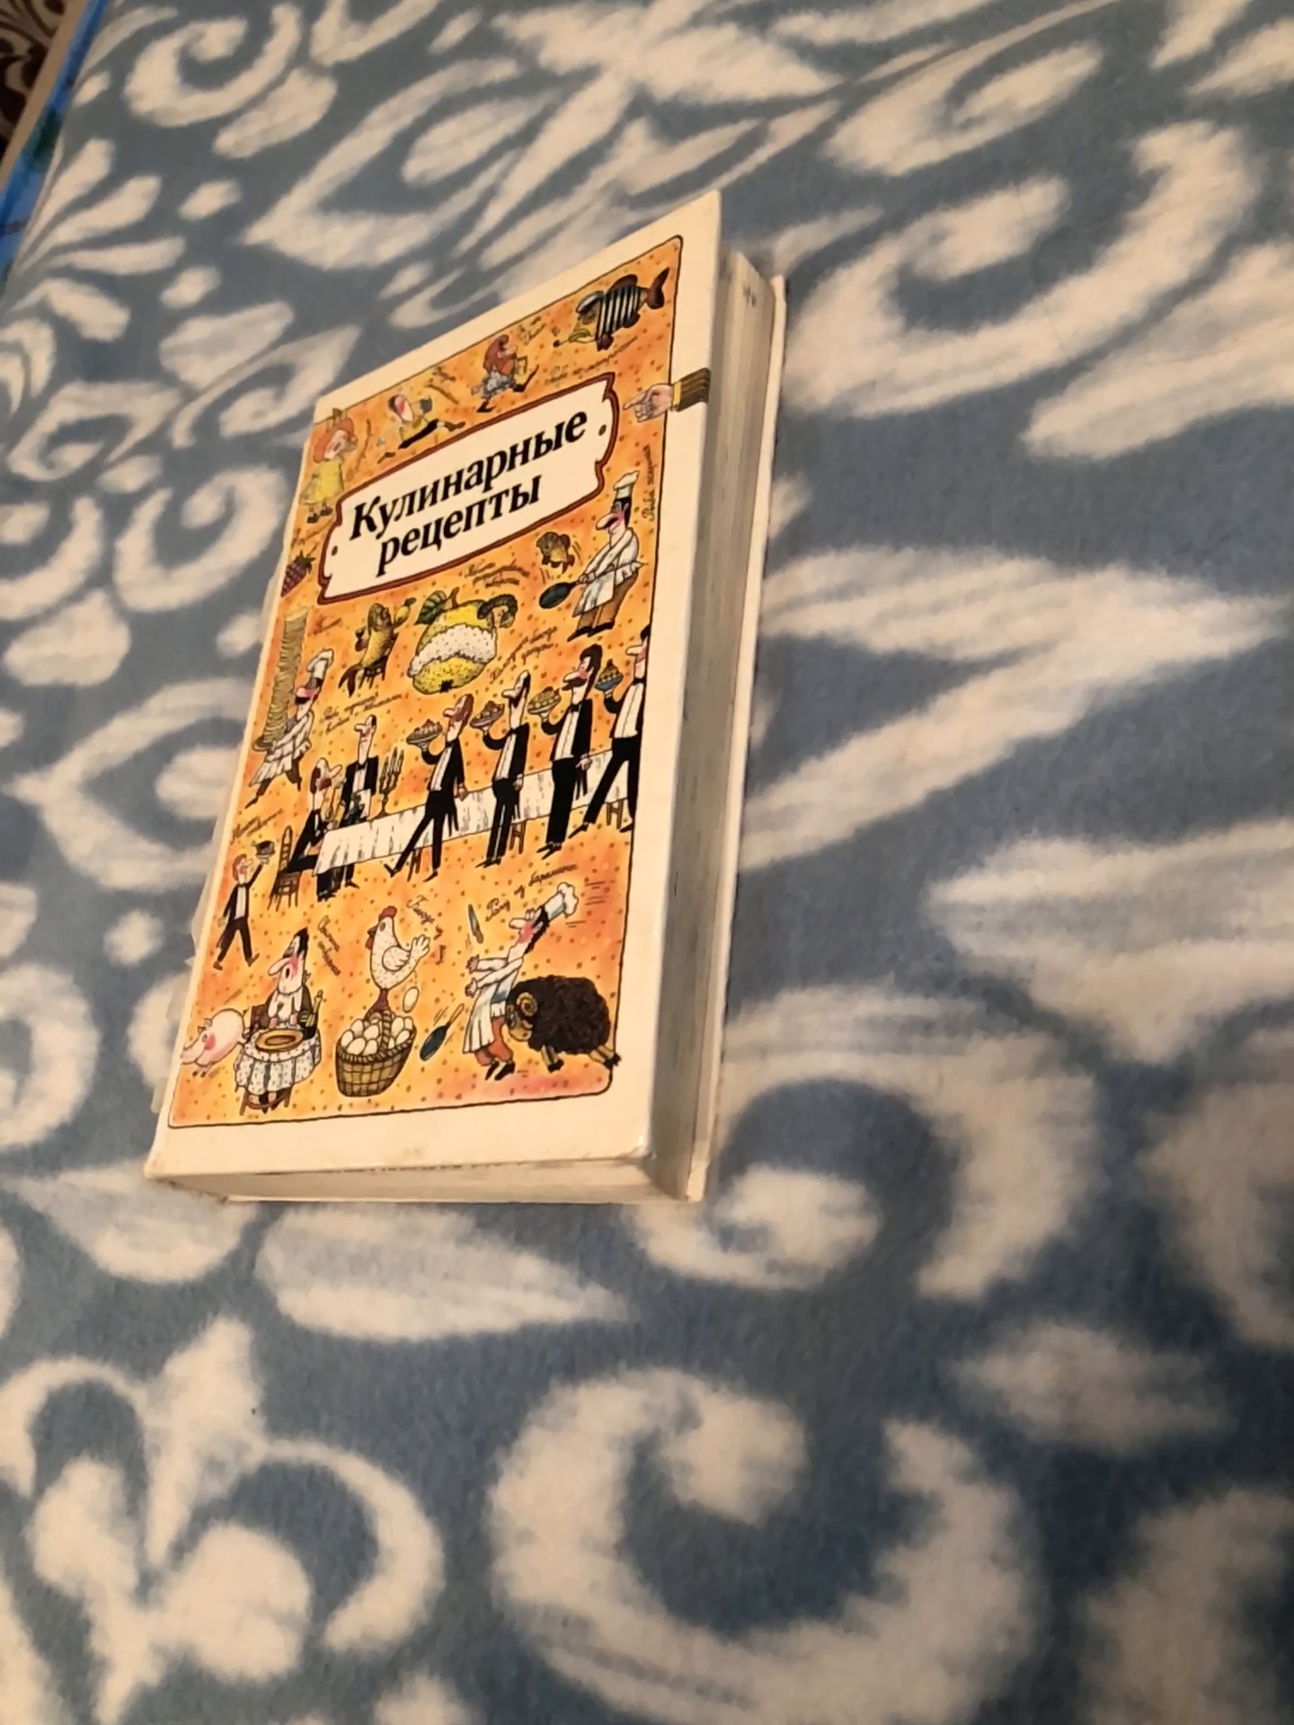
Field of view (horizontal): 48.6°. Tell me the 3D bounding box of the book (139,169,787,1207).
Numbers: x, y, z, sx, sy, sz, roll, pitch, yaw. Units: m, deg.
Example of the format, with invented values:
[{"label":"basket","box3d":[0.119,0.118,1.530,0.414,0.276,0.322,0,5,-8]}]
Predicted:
[{"label":"book","box3d":[-0.041,-0.036,0.334,0.142,0.032,0.220,-12,63,37]}]
